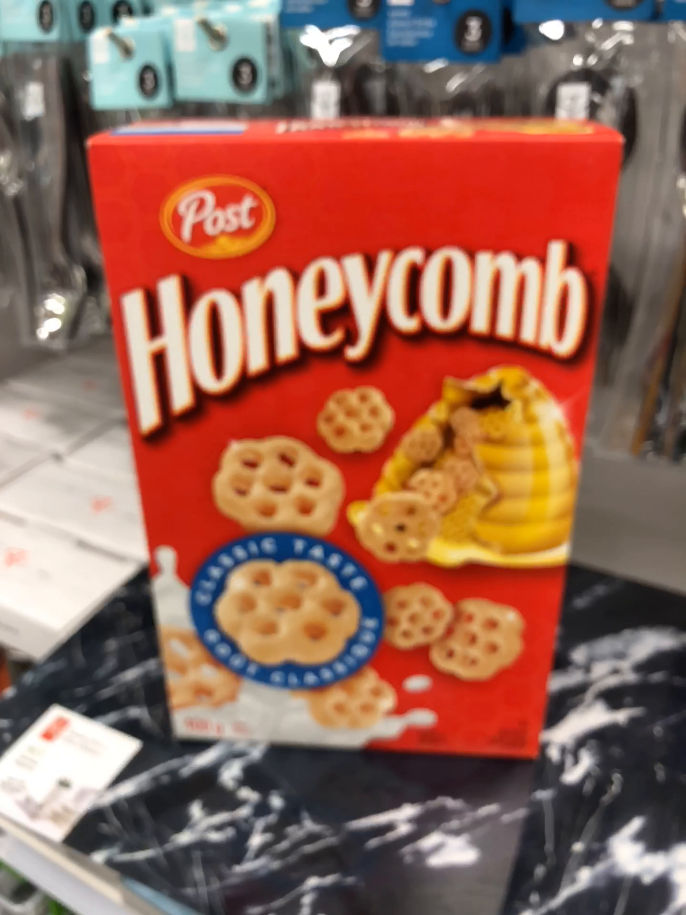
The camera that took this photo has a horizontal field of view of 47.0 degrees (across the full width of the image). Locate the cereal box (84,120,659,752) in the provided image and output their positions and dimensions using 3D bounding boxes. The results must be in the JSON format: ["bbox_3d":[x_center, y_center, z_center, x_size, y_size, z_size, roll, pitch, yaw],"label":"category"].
[{"bbox_3d":[0.013,0.001,0.385,0.210,0.299,0.070,2,27,5],"label":"cereal box"}]
